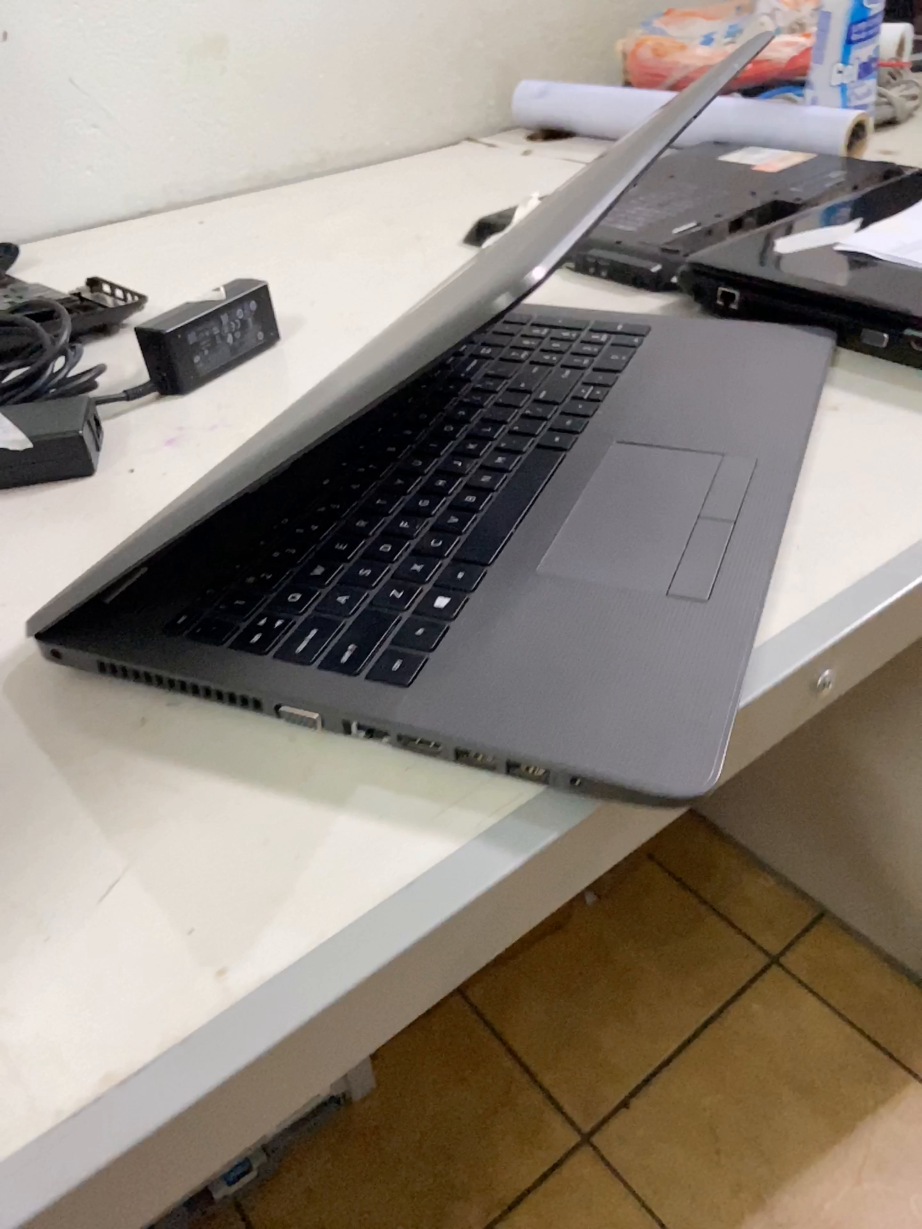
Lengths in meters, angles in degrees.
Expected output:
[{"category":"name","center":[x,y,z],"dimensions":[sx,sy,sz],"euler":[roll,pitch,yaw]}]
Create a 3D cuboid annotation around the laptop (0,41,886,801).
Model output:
[{"category":"laptop","center":[0.024,-0.136,0.408],"dimensions":[0.247,0.141,0.381],"euler":[11,40,20]}]
